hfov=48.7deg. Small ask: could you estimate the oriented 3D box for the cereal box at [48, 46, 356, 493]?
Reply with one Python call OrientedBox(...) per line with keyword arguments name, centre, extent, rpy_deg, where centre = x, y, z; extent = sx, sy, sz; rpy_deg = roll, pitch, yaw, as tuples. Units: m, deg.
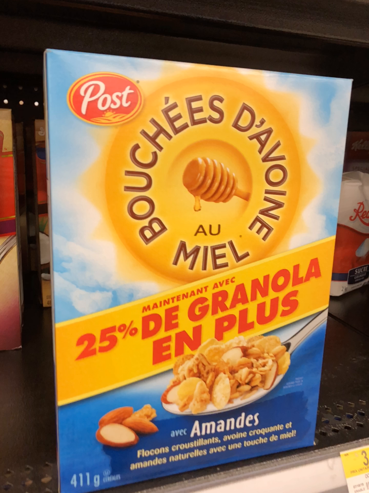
OrientedBox(name="cereal box", centre=(0.008, 0.019, 0.292), extent=(0.190, 0.269, 0.060), rpy_deg=(-2, 11, -16))
